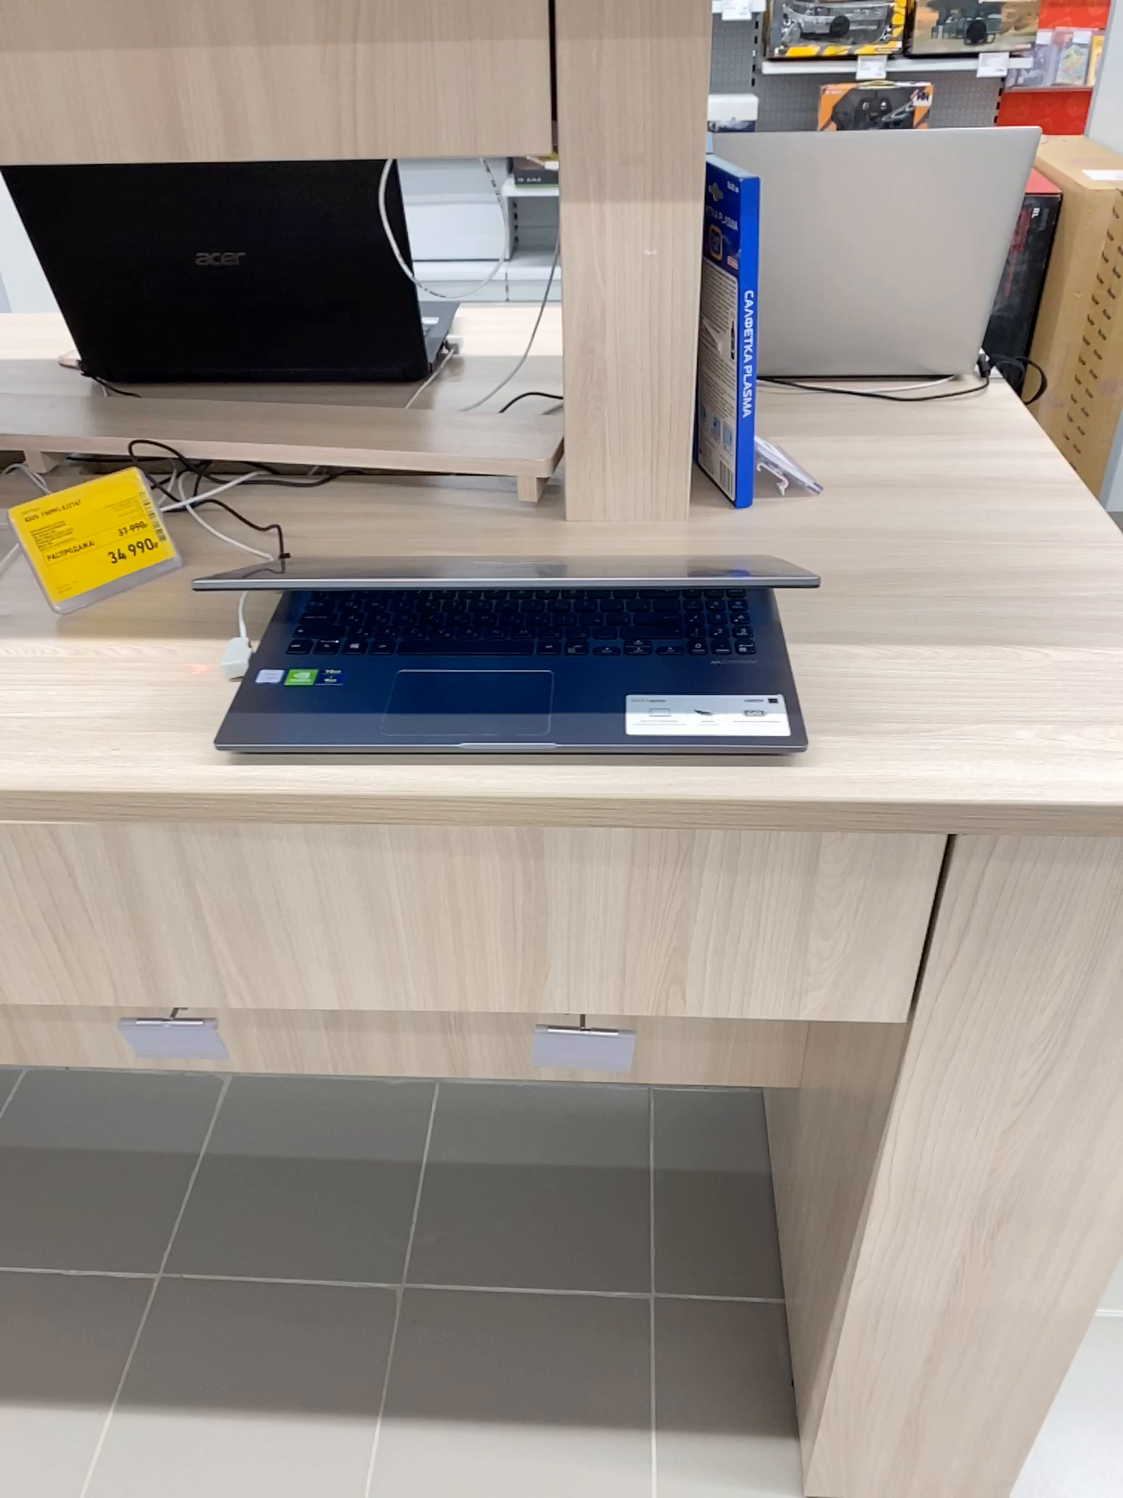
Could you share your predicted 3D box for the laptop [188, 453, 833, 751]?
[{"bbox_3d":[-0.026,-0.106,0.745,0.353,0.088,0.237,0,35,1],"label":"laptop"}]
